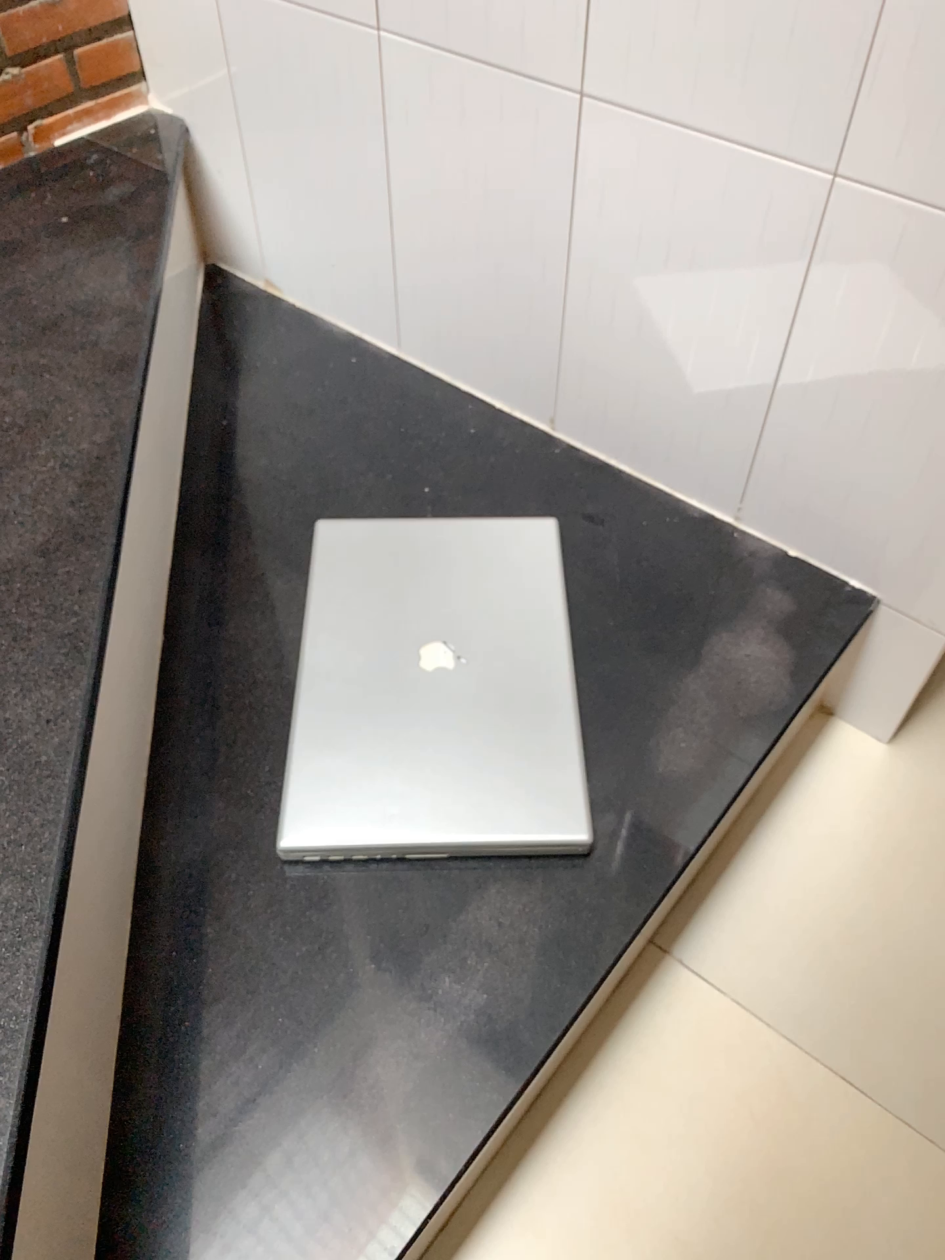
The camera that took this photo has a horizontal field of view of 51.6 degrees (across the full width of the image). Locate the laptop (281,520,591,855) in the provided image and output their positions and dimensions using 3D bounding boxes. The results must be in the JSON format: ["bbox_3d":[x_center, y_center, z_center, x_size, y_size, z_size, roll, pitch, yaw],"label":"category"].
[{"bbox_3d":[-0.037,0.038,1.066,0.291,0.013,0.442,1,50,-3],"label":"laptop"}]
